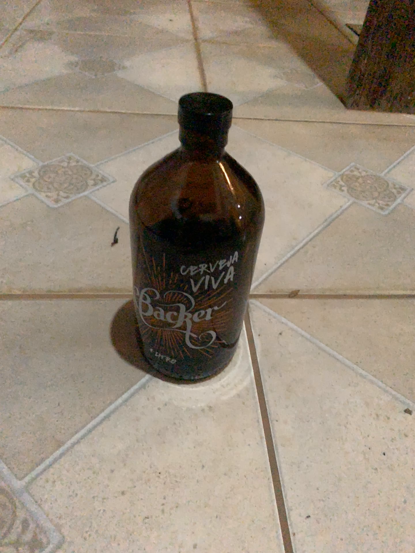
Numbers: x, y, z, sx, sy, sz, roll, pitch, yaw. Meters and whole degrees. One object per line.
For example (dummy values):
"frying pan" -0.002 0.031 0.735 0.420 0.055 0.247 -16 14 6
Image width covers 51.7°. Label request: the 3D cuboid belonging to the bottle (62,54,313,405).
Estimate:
"bottle" -0.013 -0.021 0.300 0.100 0.209 0.090 24 48 18
